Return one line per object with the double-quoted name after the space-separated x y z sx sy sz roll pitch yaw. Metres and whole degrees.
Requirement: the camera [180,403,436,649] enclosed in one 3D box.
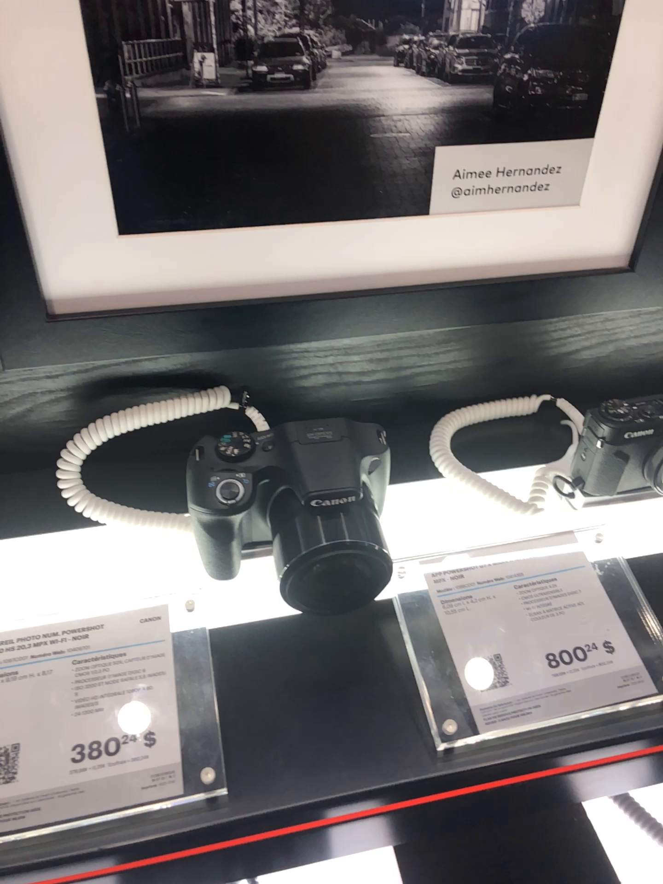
-0.016 0.046 0.413 0.122 0.099 0.071 -7 38 -11 "camera"
